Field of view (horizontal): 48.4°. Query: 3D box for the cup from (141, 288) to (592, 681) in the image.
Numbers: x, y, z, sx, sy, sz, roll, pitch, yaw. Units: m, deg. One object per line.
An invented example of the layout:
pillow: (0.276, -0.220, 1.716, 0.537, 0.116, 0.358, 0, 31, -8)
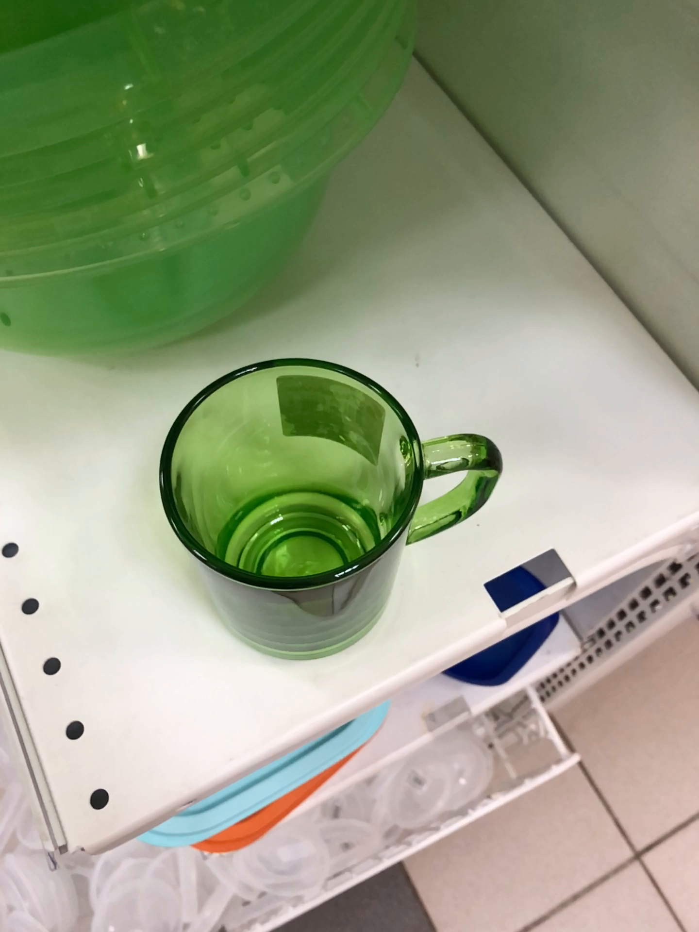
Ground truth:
cup: (0.003, 0.010, 0.258, 0.110, 0.086, 0.073, -17, 65, -8)
